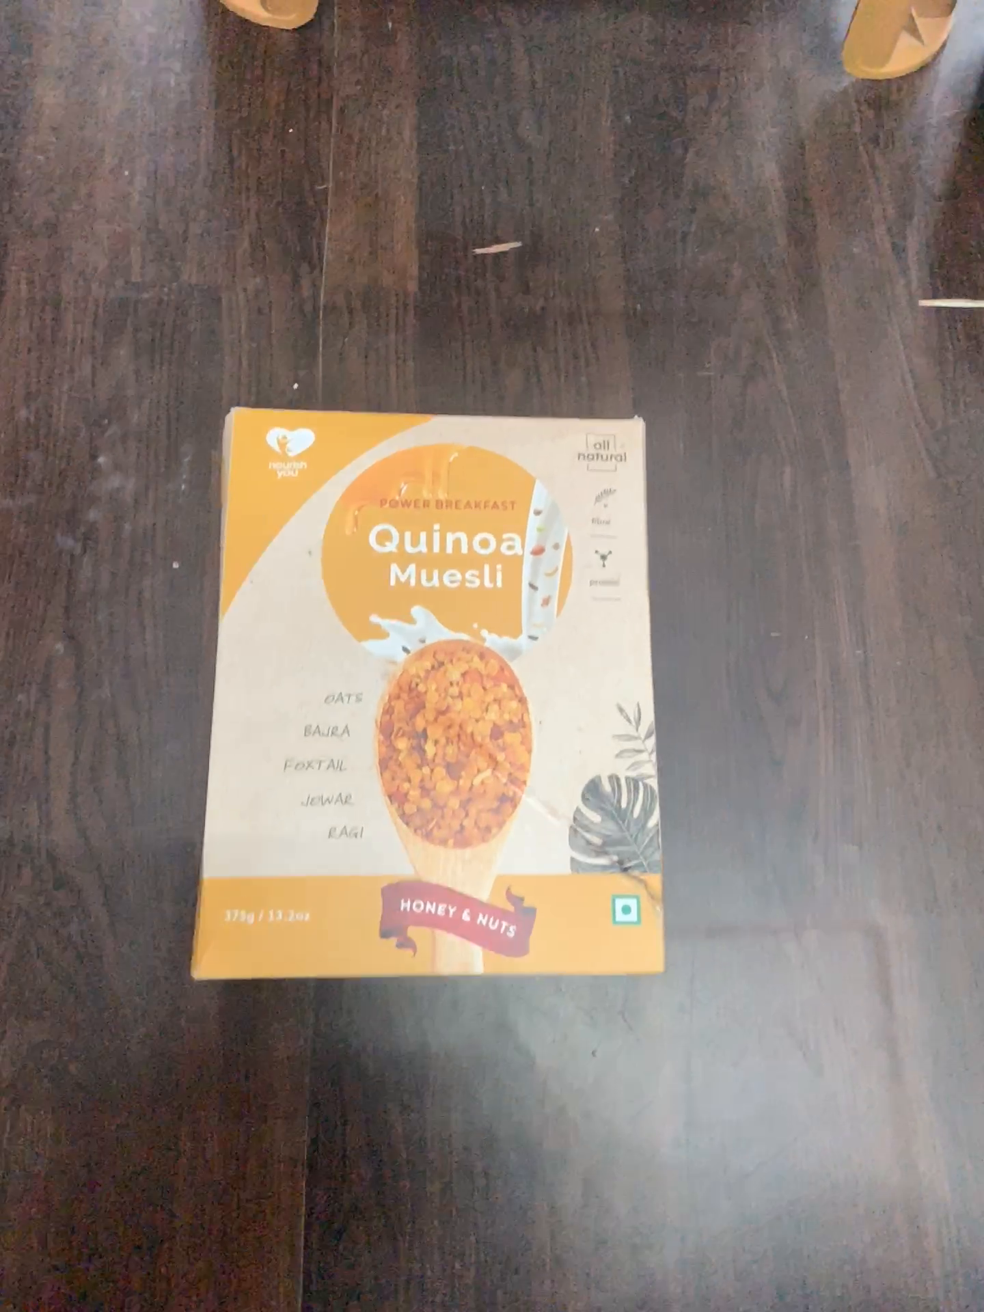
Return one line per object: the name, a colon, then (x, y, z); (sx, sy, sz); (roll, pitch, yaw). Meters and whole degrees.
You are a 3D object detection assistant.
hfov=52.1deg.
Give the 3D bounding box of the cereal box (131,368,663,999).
cereal box: (-0.031, 0.010, 0.378); (0.170, 0.060, 0.220); (1, 77, -3)
